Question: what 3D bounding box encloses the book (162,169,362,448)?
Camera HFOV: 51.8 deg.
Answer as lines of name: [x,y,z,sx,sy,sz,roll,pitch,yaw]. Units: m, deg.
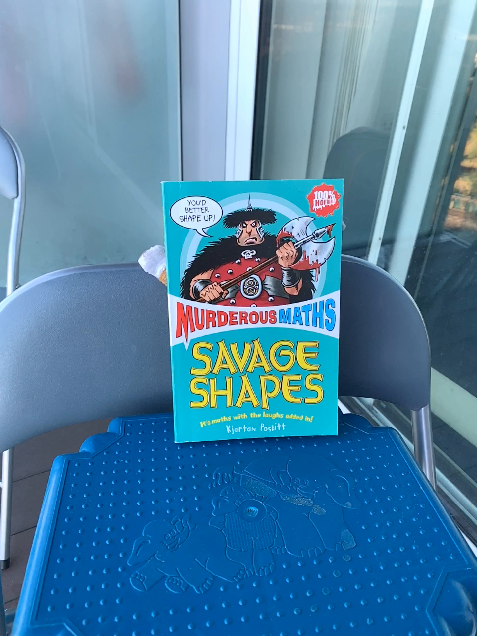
book: [0.015,-0.006,0.357,0.133,0.193,0.029,-1,12,-7]
